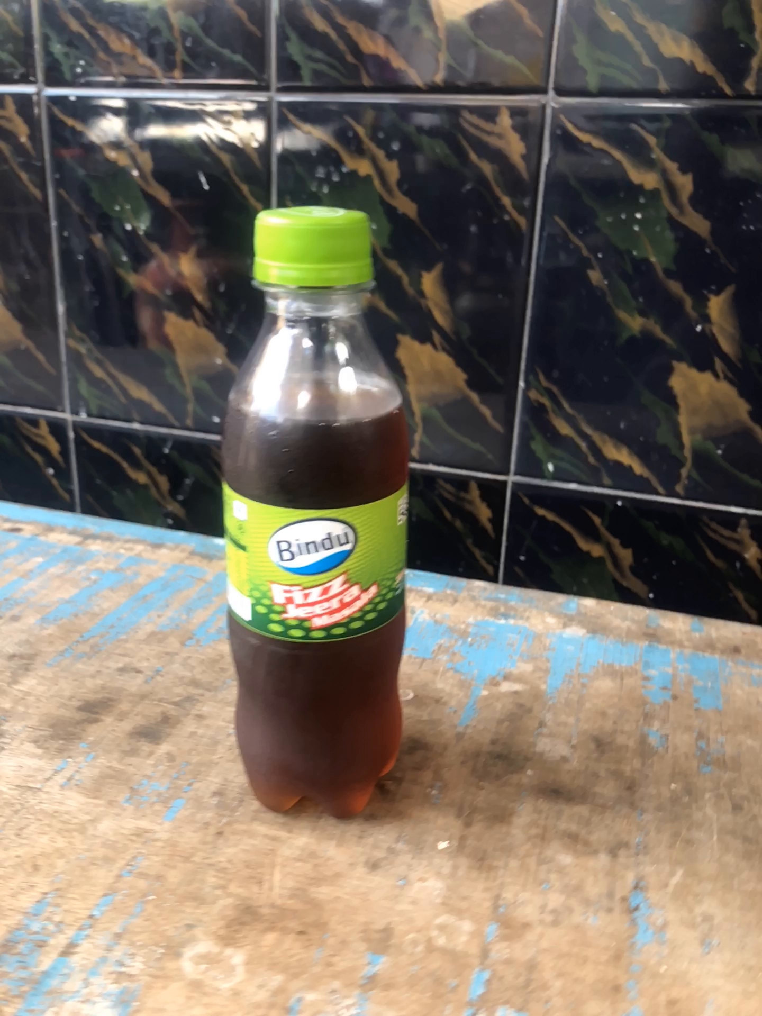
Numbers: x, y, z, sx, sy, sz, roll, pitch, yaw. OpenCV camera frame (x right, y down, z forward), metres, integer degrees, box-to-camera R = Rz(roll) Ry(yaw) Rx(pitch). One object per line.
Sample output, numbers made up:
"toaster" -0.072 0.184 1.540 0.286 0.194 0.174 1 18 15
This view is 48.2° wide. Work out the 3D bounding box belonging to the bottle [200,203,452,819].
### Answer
"bottle" -0.018 0.003 0.264 0.060 0.179 0.060 2 21 -1
